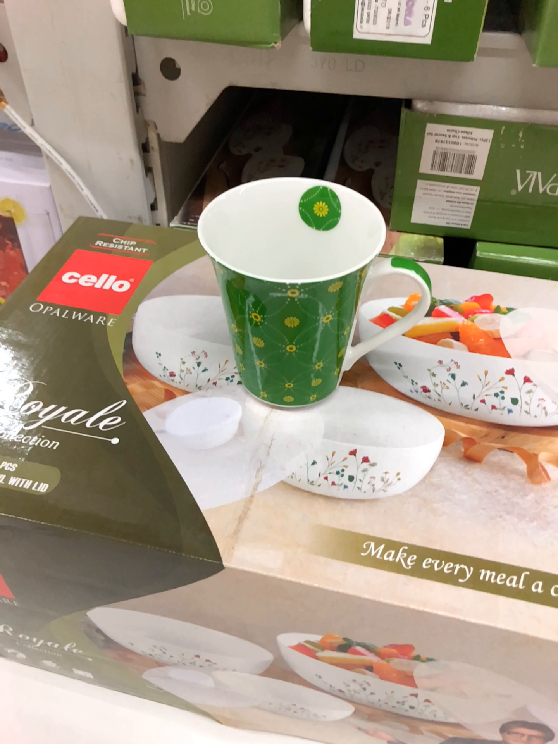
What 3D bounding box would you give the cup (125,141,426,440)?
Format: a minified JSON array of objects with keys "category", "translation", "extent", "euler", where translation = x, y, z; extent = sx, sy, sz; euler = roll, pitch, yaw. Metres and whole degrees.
[{"category":"cup","translation":[0.004,-0.041,0.292],"extent":[0.110,0.089,0.091],"euler":[9,44,8]}]
